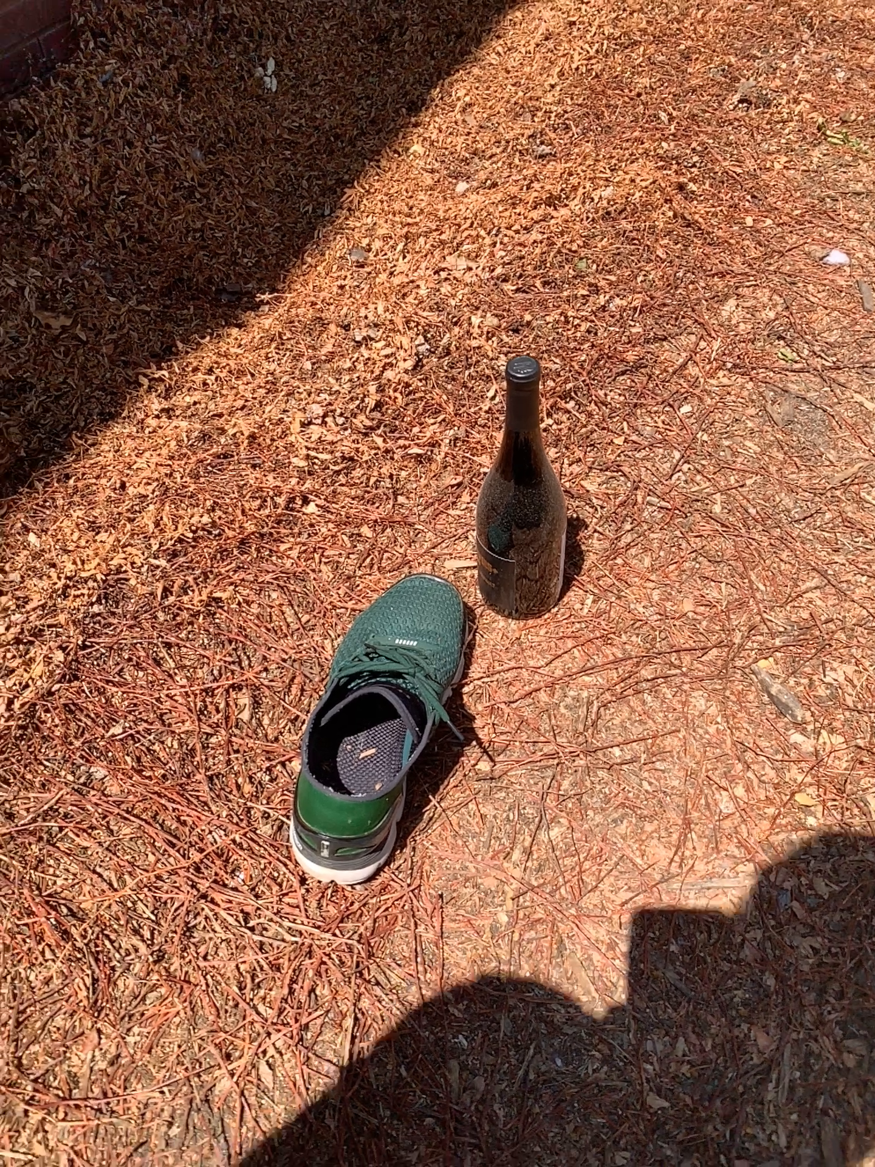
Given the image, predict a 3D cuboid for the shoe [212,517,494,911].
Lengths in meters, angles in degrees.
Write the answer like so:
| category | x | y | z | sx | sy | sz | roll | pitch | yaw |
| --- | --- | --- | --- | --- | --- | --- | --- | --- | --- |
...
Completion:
| category | x | y | z | sx | sy | sz | roll | pitch | yaw |
| --- | --- | --- | --- | --- | --- | --- | --- | --- | --- |
| shoe | -0.054 | 0.094 | 0.752 | 0.130 | 0.100 | 0.301 | 12 | 50 | 11 |
